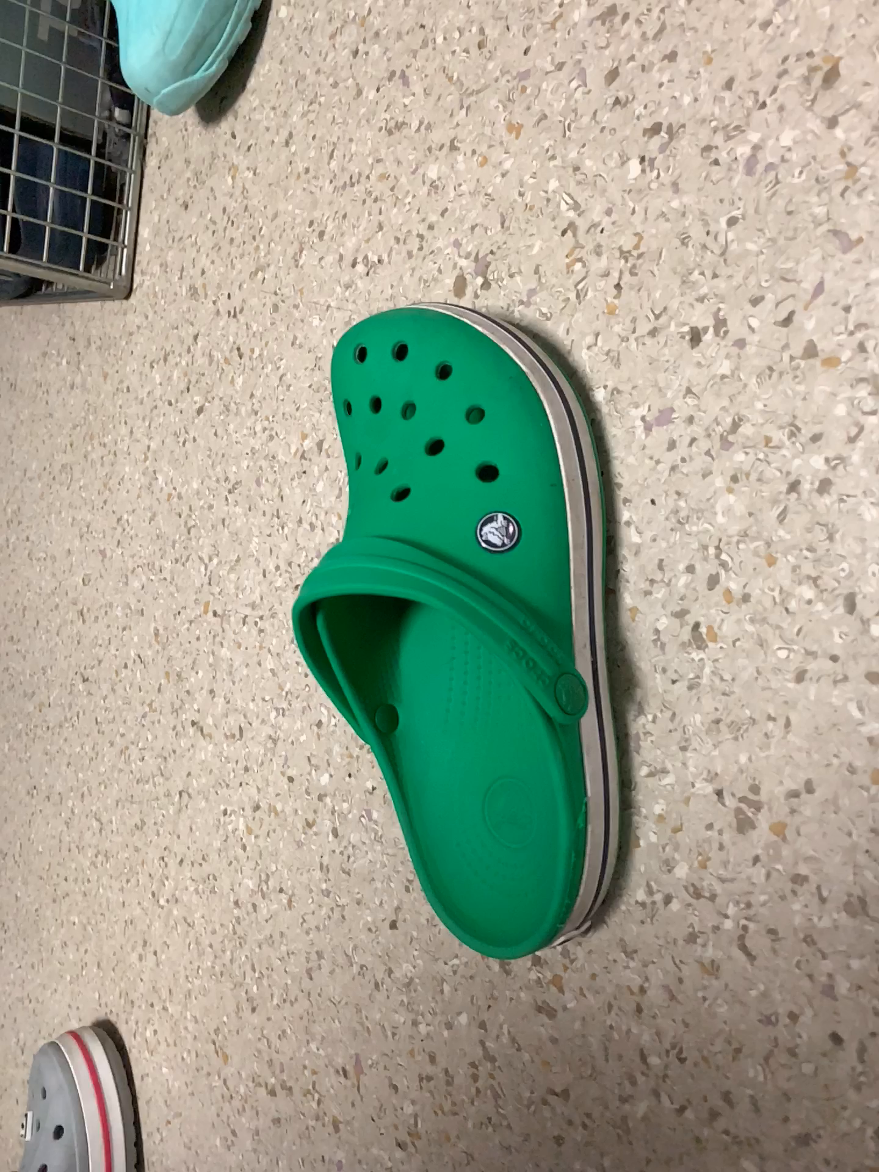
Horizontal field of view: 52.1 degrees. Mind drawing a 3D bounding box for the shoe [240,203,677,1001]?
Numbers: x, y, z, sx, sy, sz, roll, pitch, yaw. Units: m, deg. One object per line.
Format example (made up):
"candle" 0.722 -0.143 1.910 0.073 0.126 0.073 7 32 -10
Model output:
"shoe" 0.000 0.007 0.327 0.108 0.082 0.234 -14 78 46
